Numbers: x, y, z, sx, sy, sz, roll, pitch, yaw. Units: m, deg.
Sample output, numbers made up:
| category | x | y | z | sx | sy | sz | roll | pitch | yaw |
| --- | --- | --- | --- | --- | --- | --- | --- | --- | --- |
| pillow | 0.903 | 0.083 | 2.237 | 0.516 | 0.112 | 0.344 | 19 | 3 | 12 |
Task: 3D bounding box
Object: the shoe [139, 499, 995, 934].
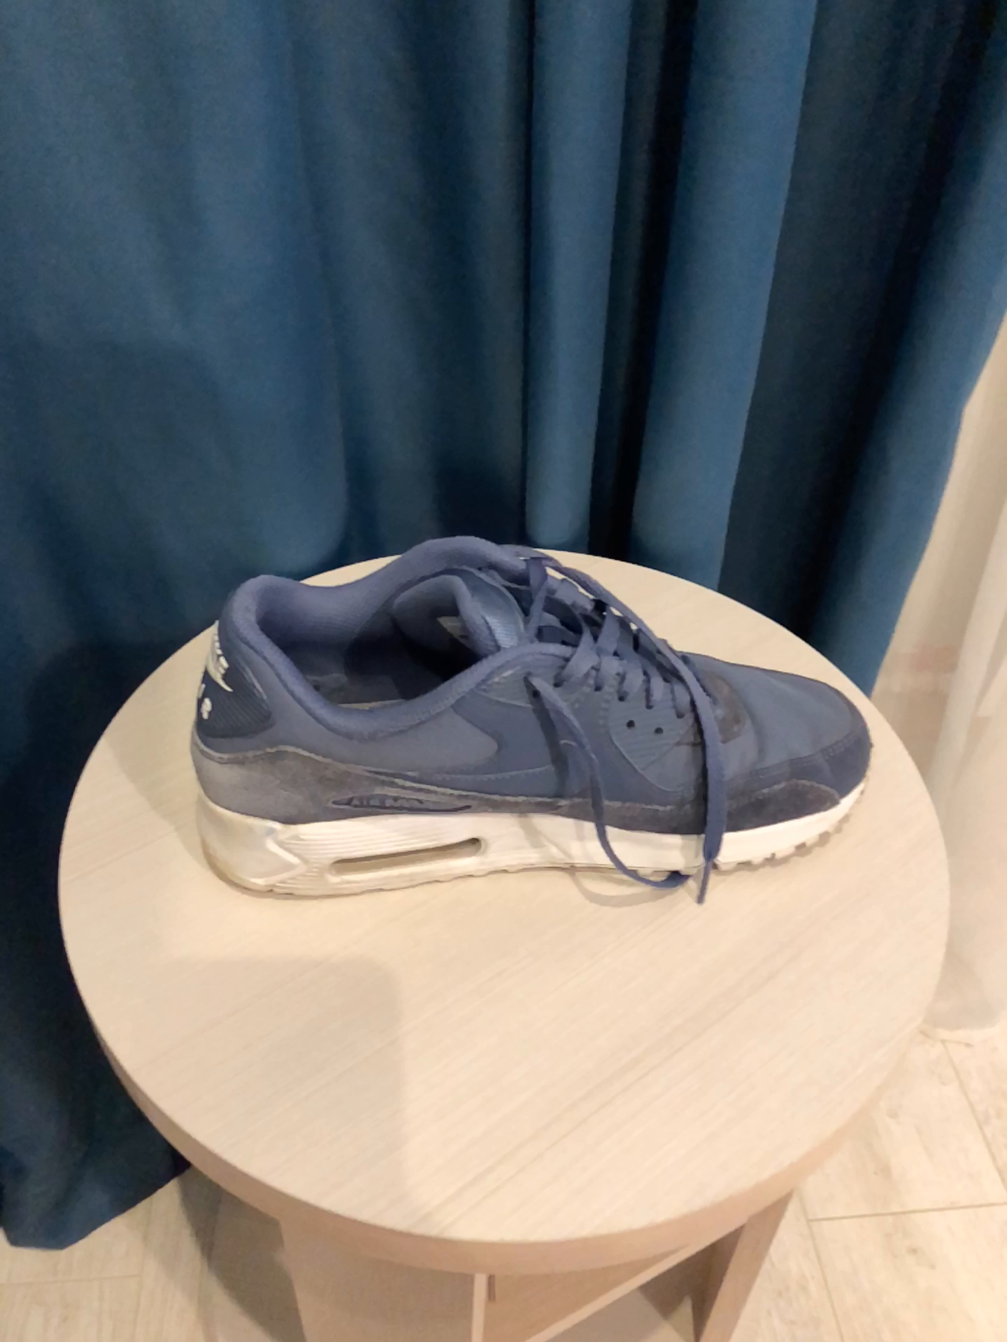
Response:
| category | x | y | z | sx | sy | sz | roll | pitch | yaw |
| --- | --- | --- | --- | --- | --- | --- | --- | --- | --- |
| shoe | 0.017 | 0.012 | 0.429 | 0.280 | 0.109 | 0.111 | -3 | 39 | -9 |
